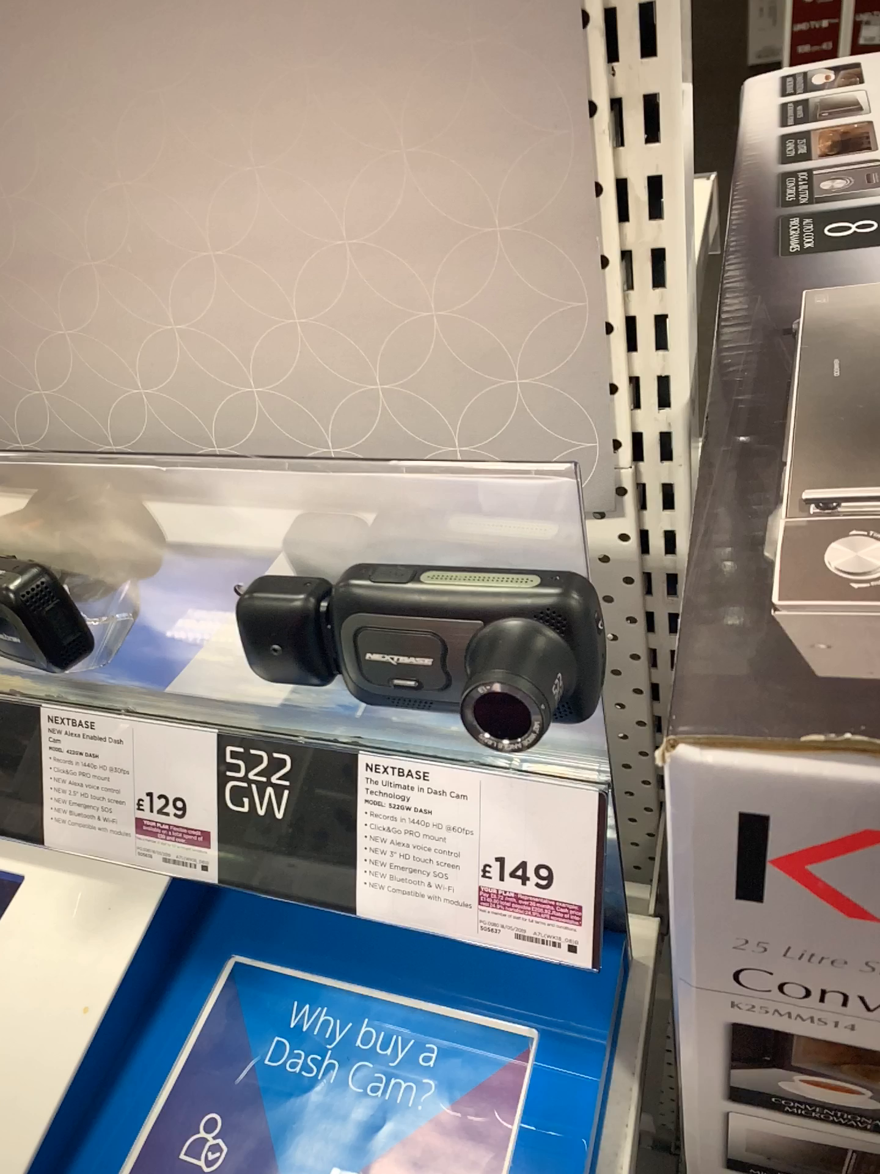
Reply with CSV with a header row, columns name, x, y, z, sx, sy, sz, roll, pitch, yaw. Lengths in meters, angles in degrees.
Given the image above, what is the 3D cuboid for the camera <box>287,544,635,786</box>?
name,x,y,z,sx,sy,sz,roll,pitch,yaw
camera,0.011,0.023,0.308,0.100,0.050,0.060,1,37,19
